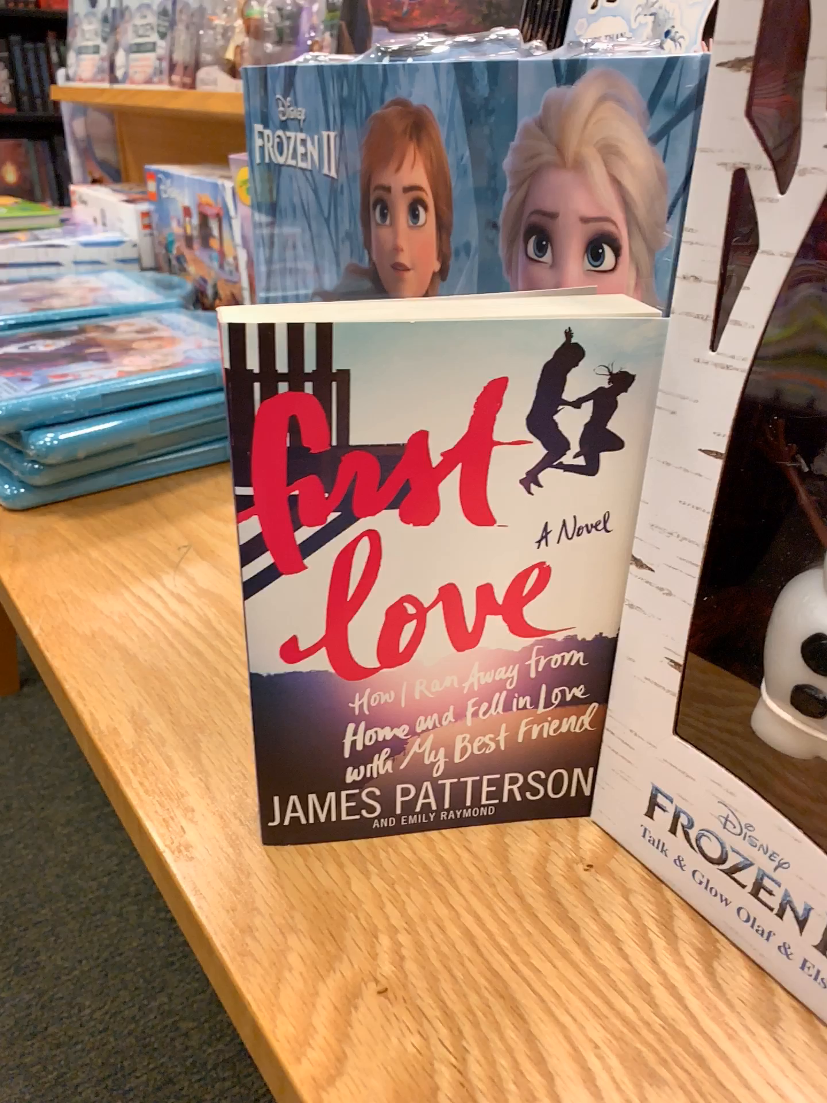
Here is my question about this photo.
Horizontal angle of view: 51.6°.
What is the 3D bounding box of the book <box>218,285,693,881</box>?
[{"bbox_3d":[0.008,0.013,0.317,0.142,0.205,0.059,-4,25,-11],"label":"book"}]
